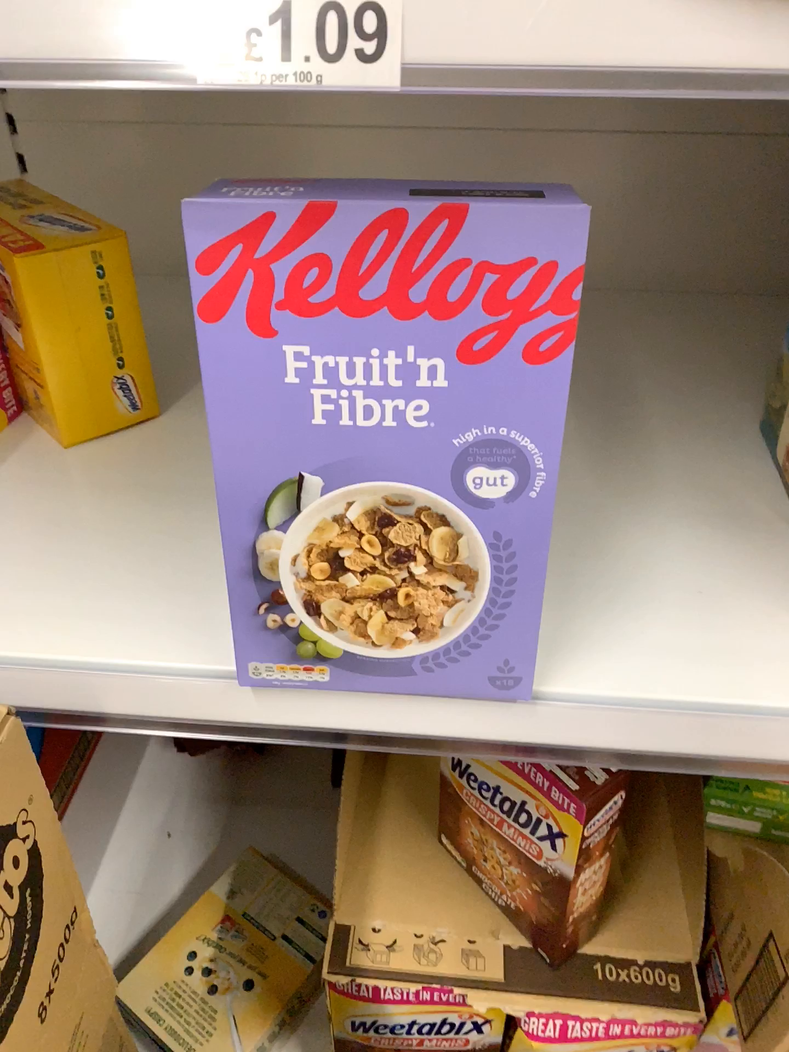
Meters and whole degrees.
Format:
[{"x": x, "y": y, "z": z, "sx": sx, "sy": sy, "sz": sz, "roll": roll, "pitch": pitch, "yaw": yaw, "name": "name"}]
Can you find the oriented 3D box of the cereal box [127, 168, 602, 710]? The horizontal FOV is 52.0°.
[{"x": -0.013, "y": -0.038, "z": 0.467, "sx": 0.210, "sy": 0.297, "sz": 0.081, "roll": 2, "pitch": 31, "yaw": 3, "name": "cereal box"}]
